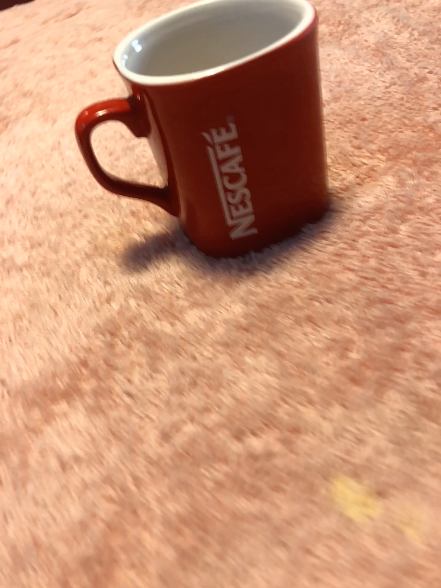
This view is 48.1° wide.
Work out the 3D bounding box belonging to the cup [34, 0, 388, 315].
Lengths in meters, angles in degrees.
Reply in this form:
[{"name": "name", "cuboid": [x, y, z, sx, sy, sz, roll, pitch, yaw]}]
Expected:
[{"name": "cup", "cuboid": [-0.003, -0.057, 0.183, 0.100, 0.070, 0.070, -23, 45, -4]}]
